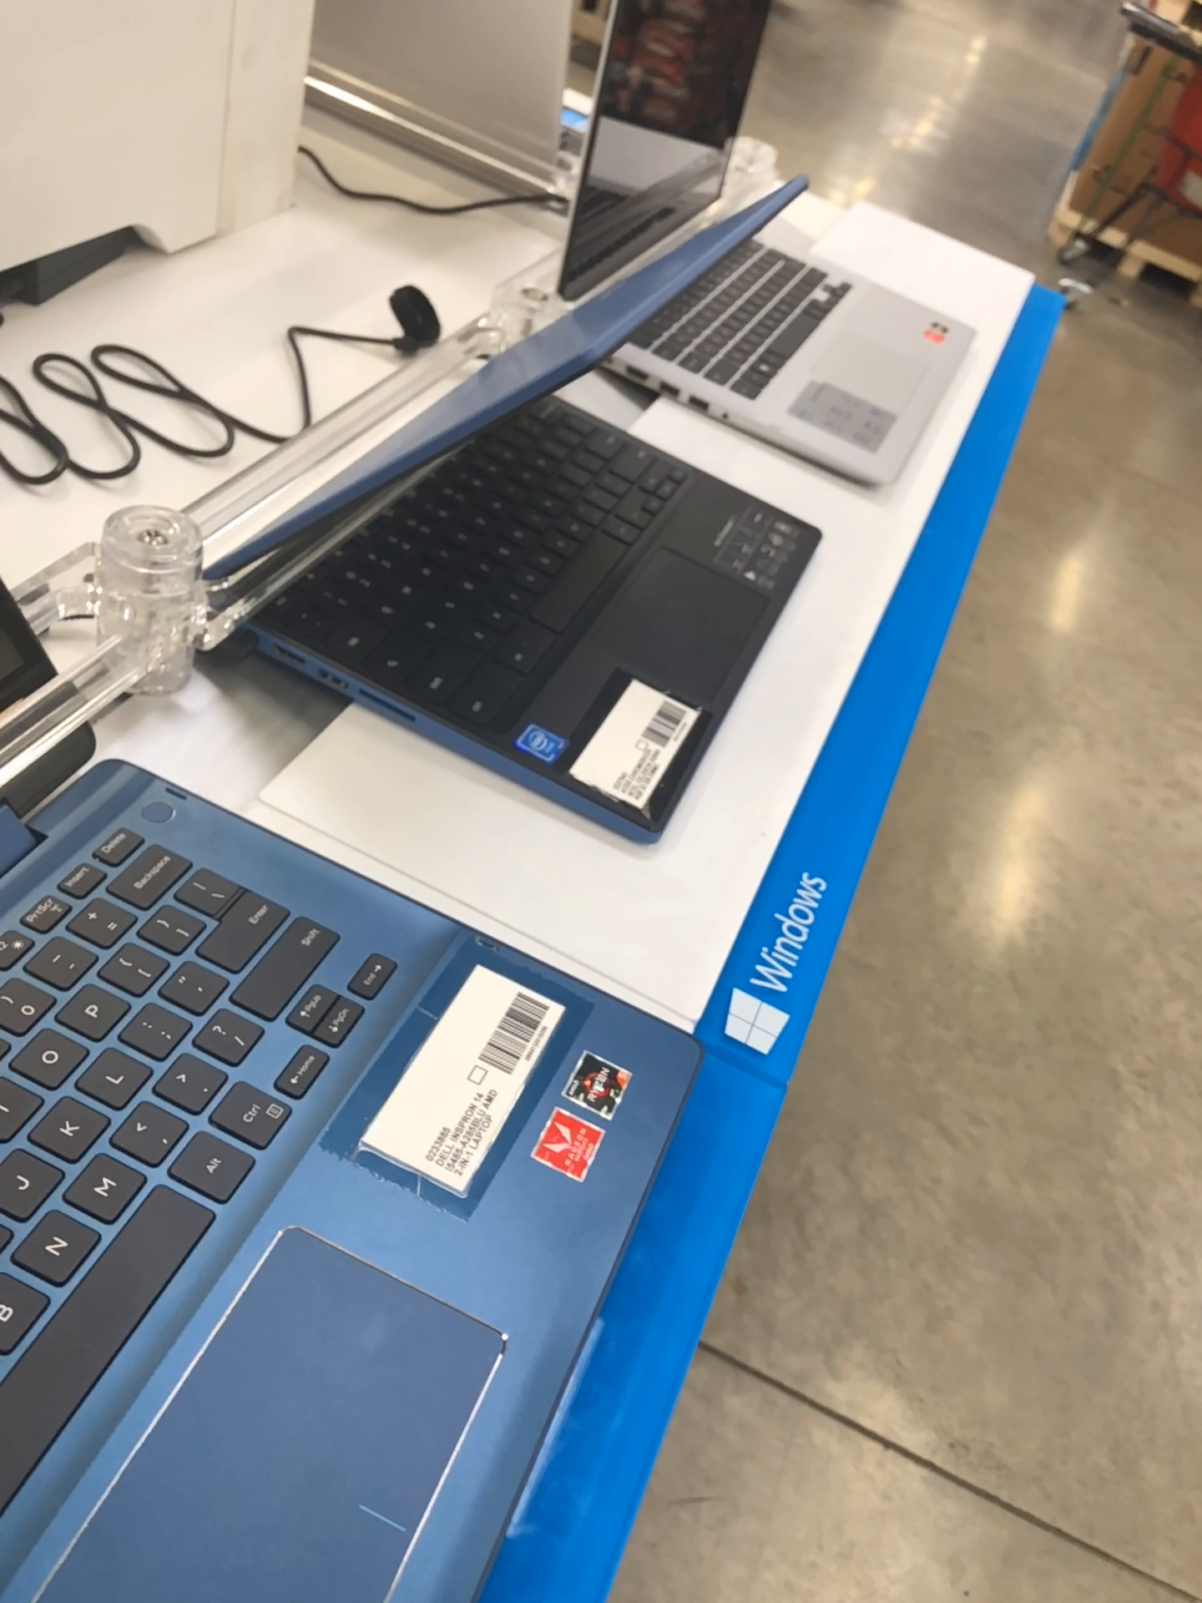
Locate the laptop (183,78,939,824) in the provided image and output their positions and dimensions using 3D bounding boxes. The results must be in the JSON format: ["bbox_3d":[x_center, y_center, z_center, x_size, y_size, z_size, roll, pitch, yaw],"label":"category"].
[{"bbox_3d":[-0.002,-0.170,0.575,0.194,0.159,0.295,27,40,5],"label":"laptop"}]

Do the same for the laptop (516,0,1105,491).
[{"bbox_3d":[0.145,-0.430,0.866,0.255,0.218,0.343,28,42,5],"label":"laptop"}]

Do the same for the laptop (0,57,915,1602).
[{"bbox_3d":[-0.163,0.026,0.274,0.367,0.169,0.306,25,40,5],"label":"laptop"}]
